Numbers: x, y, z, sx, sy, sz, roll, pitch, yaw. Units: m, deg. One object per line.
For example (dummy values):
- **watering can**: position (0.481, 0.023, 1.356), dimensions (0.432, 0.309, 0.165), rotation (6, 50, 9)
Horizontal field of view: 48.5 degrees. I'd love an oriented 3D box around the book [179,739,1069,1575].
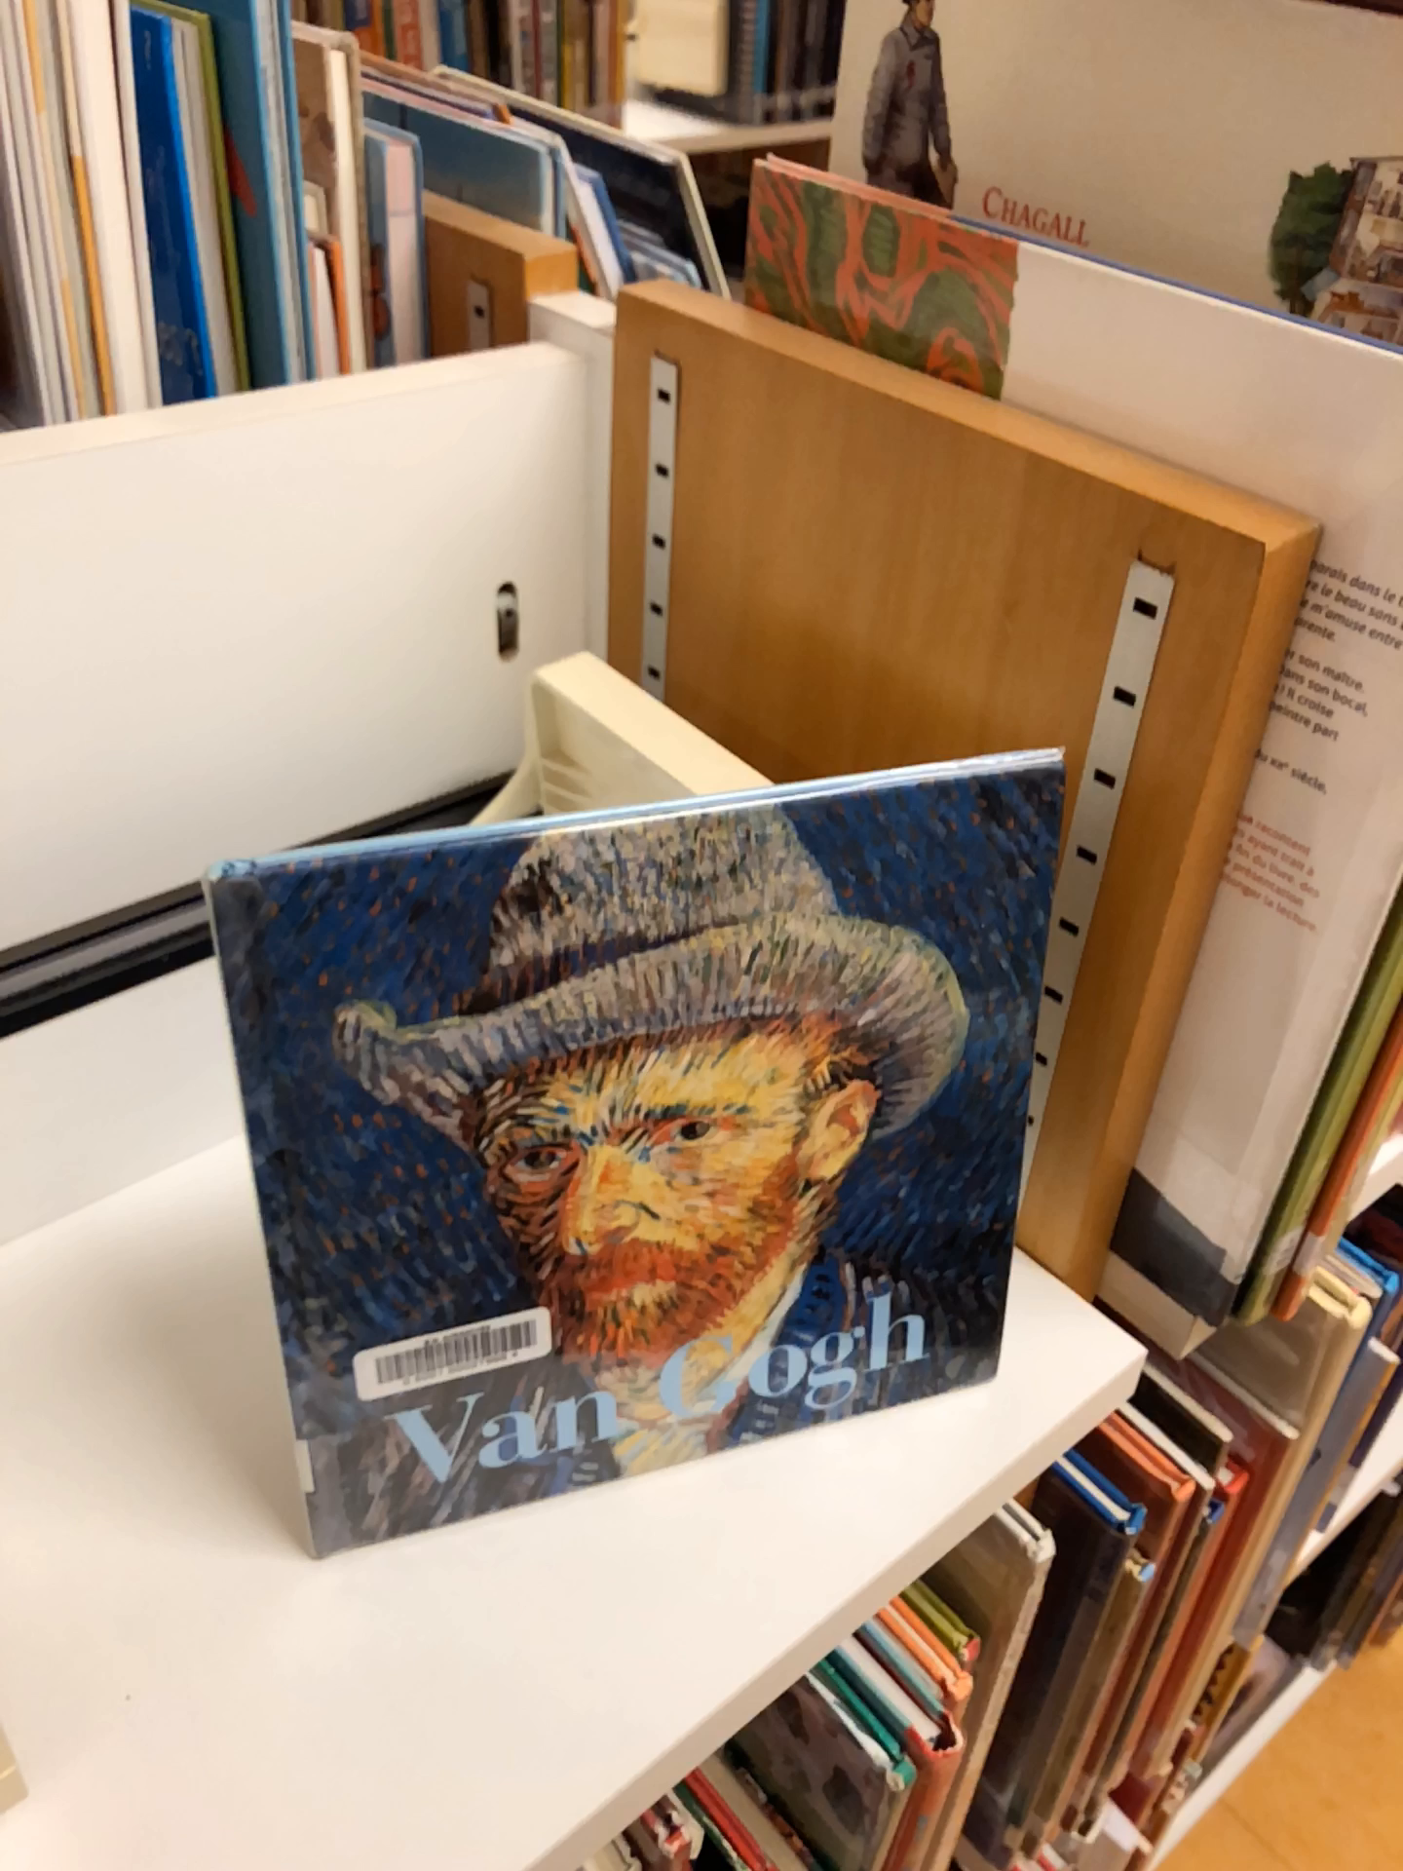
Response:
- **book**: position (-0.010, 0.058, 0.387), dimensions (0.200, 0.197, 0.013), rotation (-9, 28, -16)
